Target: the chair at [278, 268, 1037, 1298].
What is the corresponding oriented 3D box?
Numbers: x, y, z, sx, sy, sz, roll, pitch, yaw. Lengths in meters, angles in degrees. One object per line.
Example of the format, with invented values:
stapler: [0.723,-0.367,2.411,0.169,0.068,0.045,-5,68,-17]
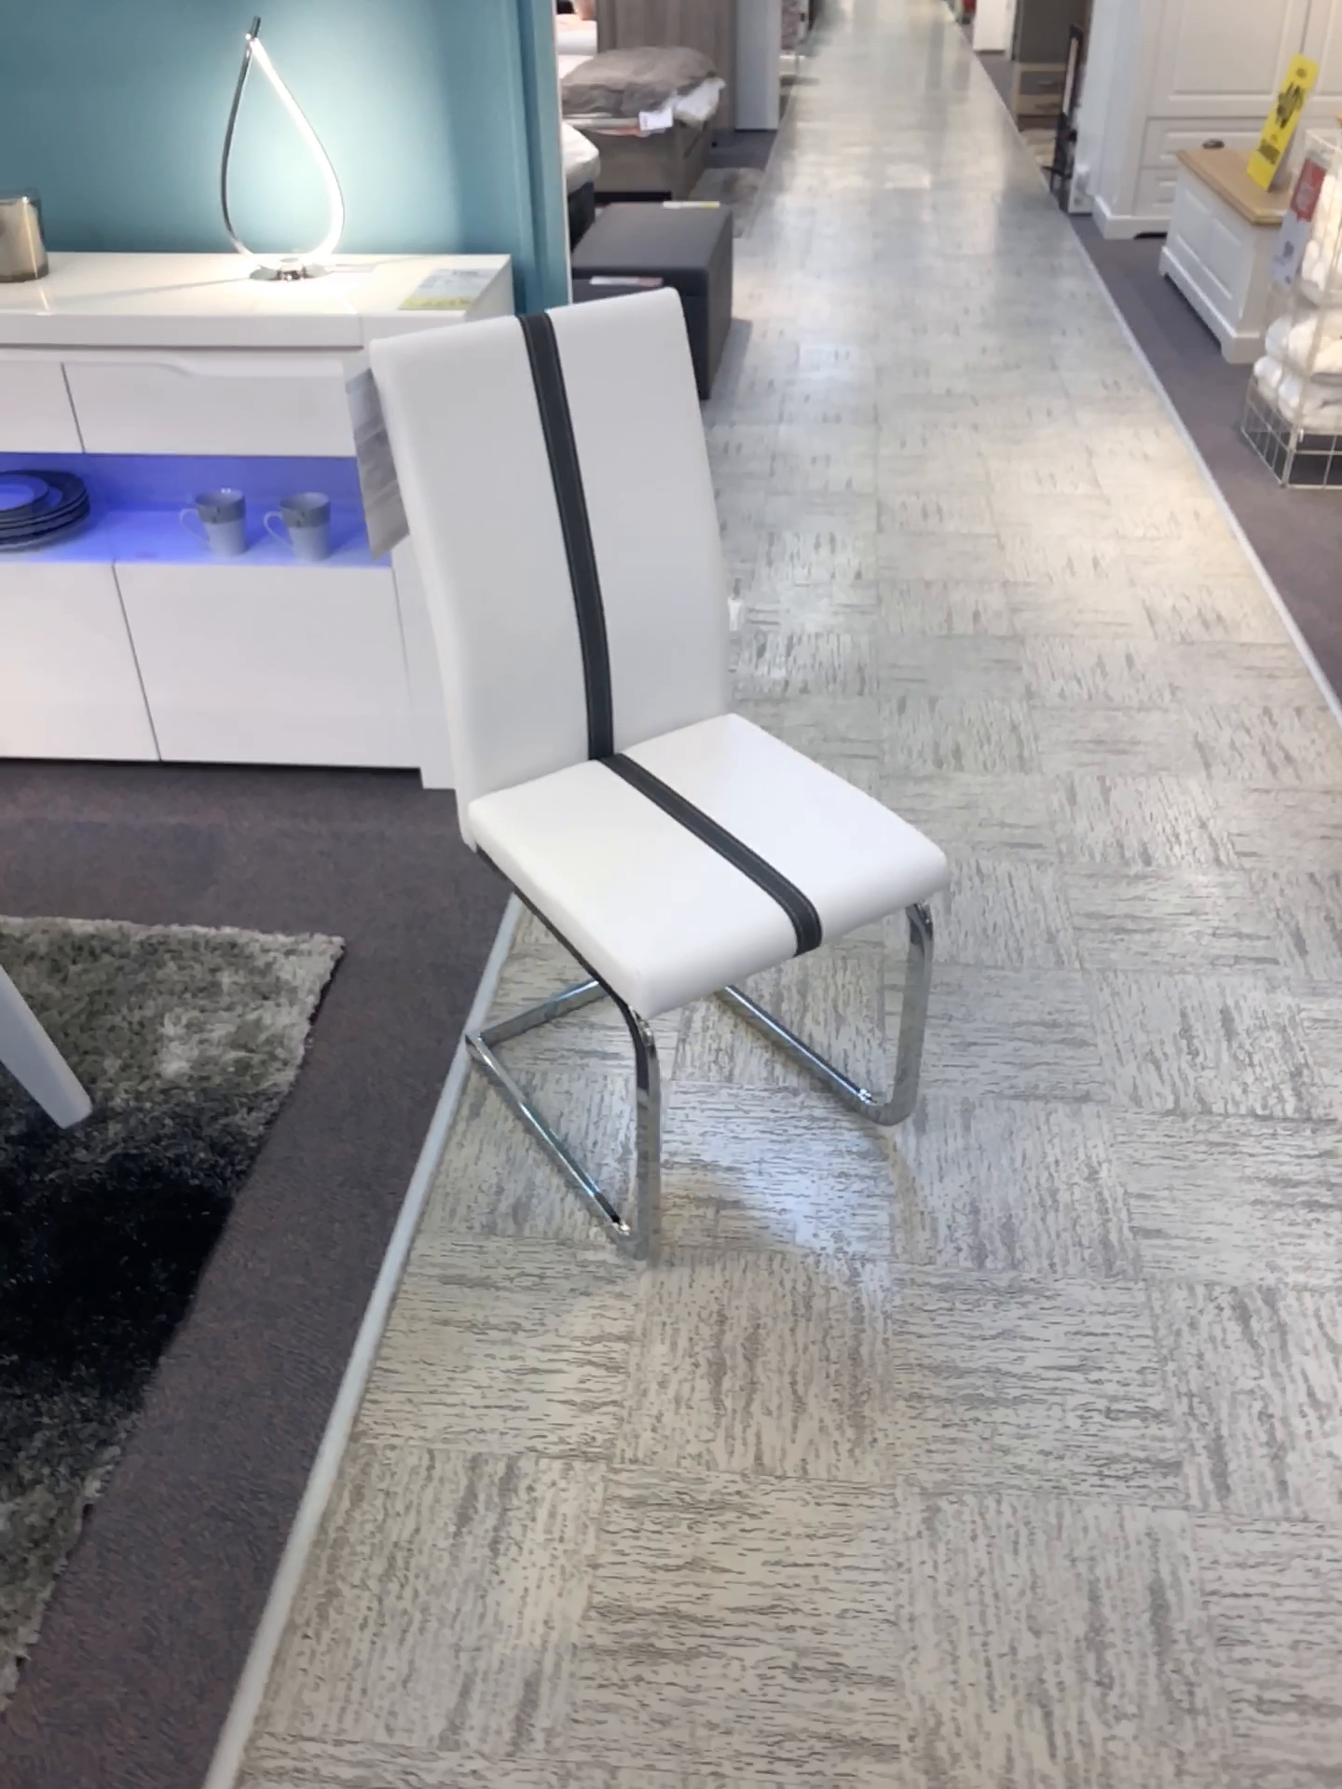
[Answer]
chair: [-0.028,-0.144,1.623,0.489,0.878,0.571,-20,39,-26]
